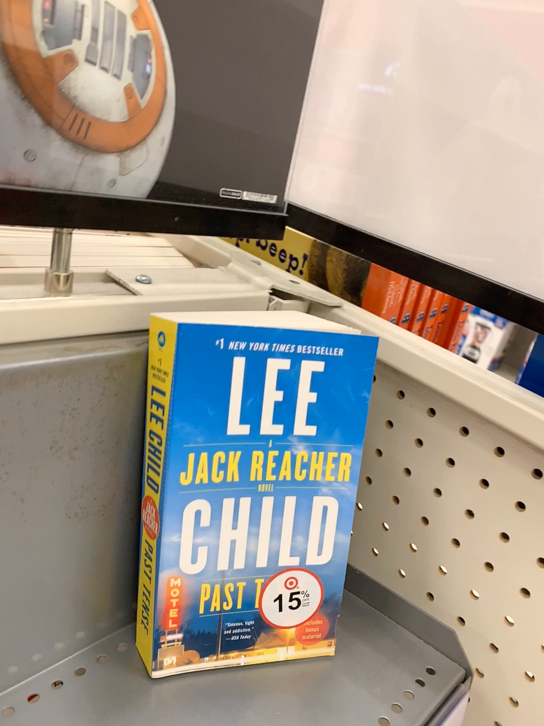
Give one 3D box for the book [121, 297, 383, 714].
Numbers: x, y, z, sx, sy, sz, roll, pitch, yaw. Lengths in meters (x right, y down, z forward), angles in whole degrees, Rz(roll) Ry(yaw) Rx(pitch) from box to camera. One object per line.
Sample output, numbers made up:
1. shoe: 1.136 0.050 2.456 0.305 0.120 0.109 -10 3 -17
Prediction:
1. book: -0.015 0.066 0.325 0.110 0.197 0.080 -1 10 -35
